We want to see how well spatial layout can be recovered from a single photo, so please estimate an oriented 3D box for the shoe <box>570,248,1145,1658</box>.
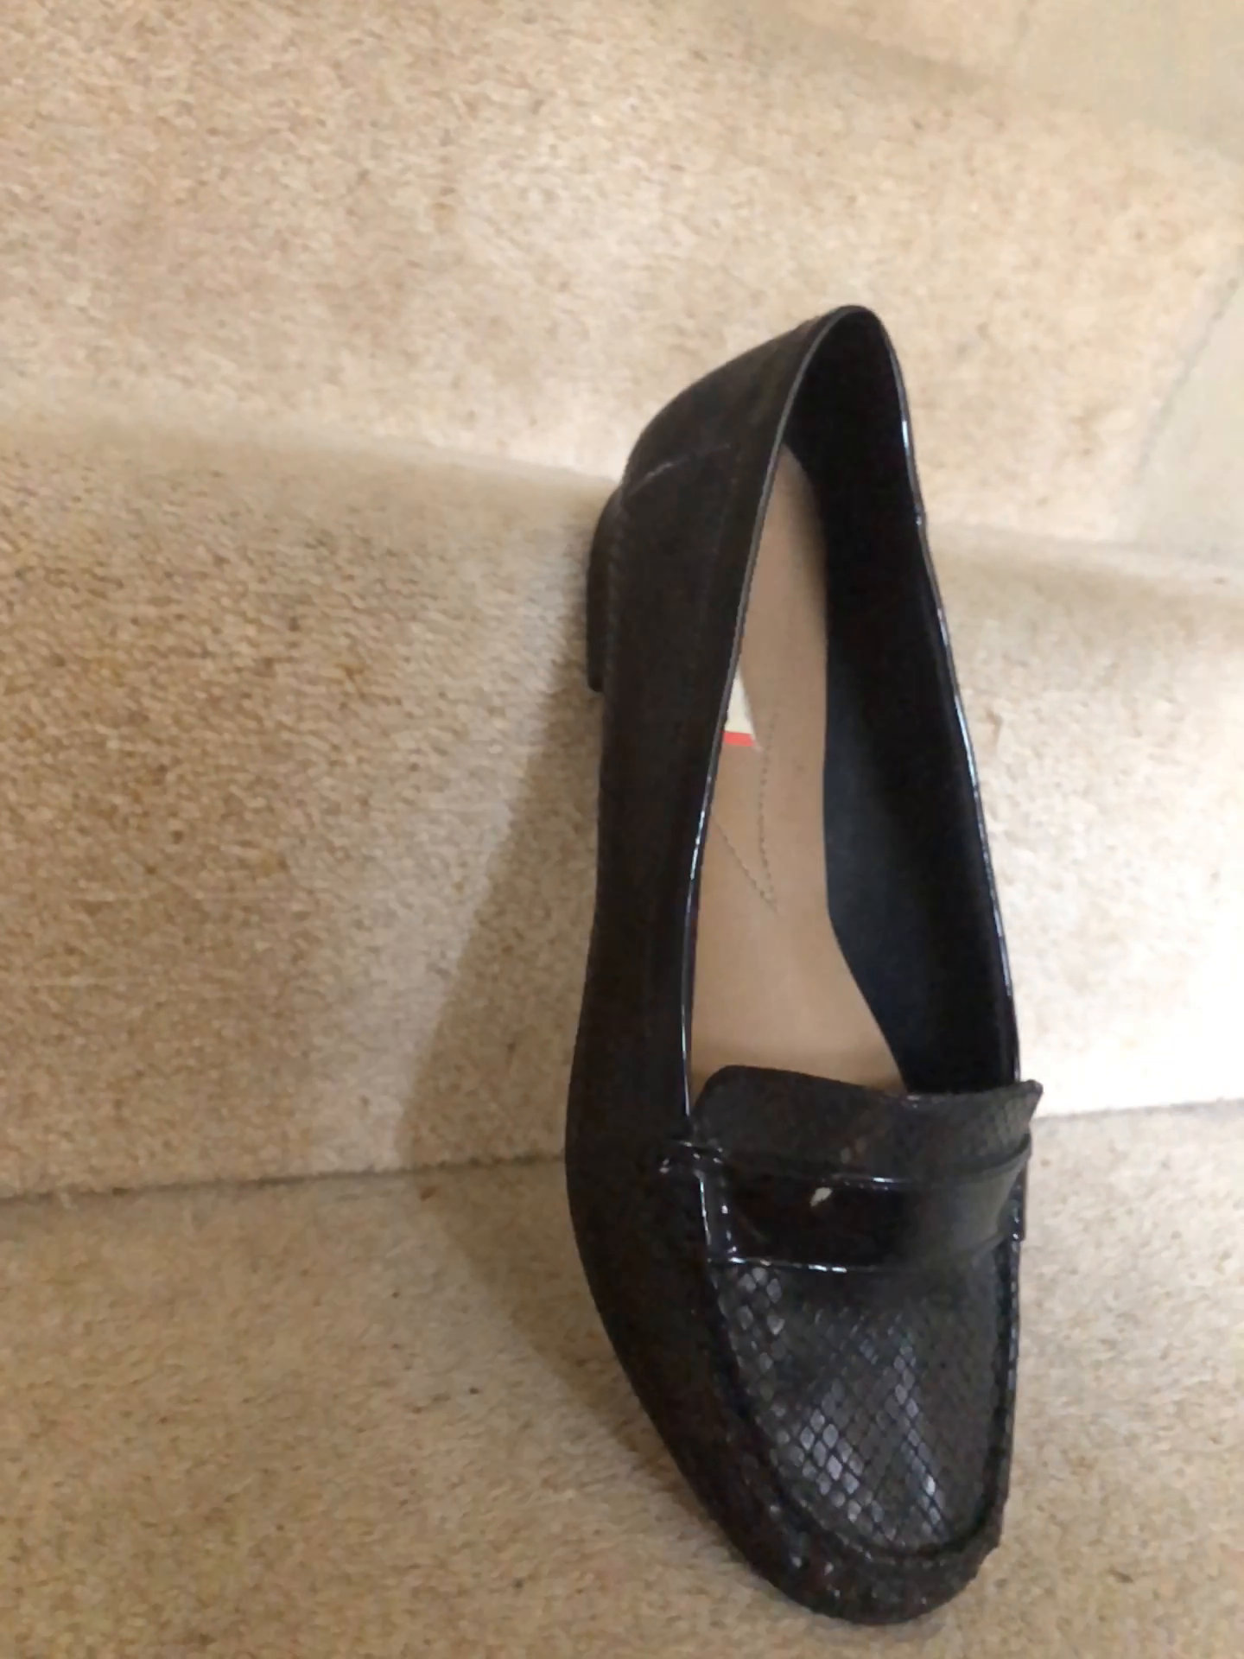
[{"bbox_3d":[0.046,0.021,0.305,0.090,0.261,0.070,5,-11,-32],"label":"shoe"}]
